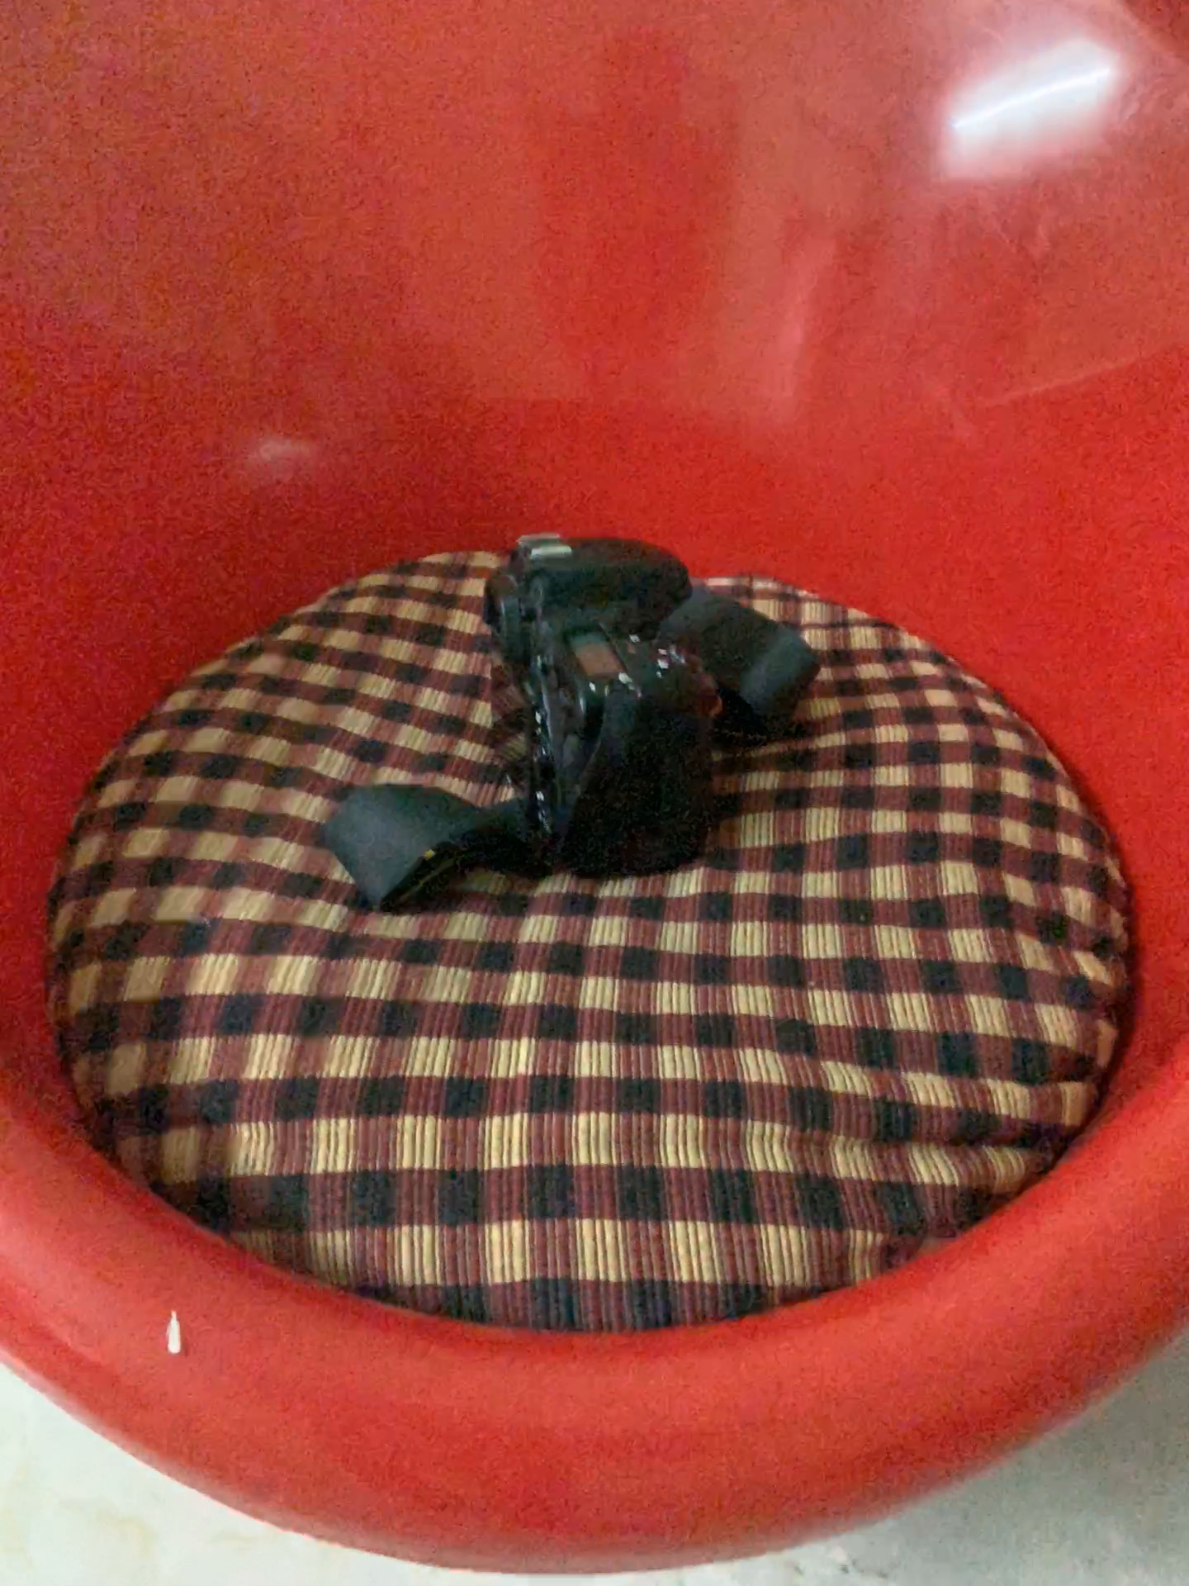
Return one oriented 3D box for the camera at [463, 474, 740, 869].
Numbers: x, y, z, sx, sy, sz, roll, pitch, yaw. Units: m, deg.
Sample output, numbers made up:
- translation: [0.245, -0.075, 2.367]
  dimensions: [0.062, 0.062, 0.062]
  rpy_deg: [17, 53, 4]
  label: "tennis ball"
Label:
- translation: [-0.004, -0.054, 0.492]
  dimensions: [0.080, 0.090, 0.141]
  rpy_deg: [-6, 40, -9]
  label: "camera"
